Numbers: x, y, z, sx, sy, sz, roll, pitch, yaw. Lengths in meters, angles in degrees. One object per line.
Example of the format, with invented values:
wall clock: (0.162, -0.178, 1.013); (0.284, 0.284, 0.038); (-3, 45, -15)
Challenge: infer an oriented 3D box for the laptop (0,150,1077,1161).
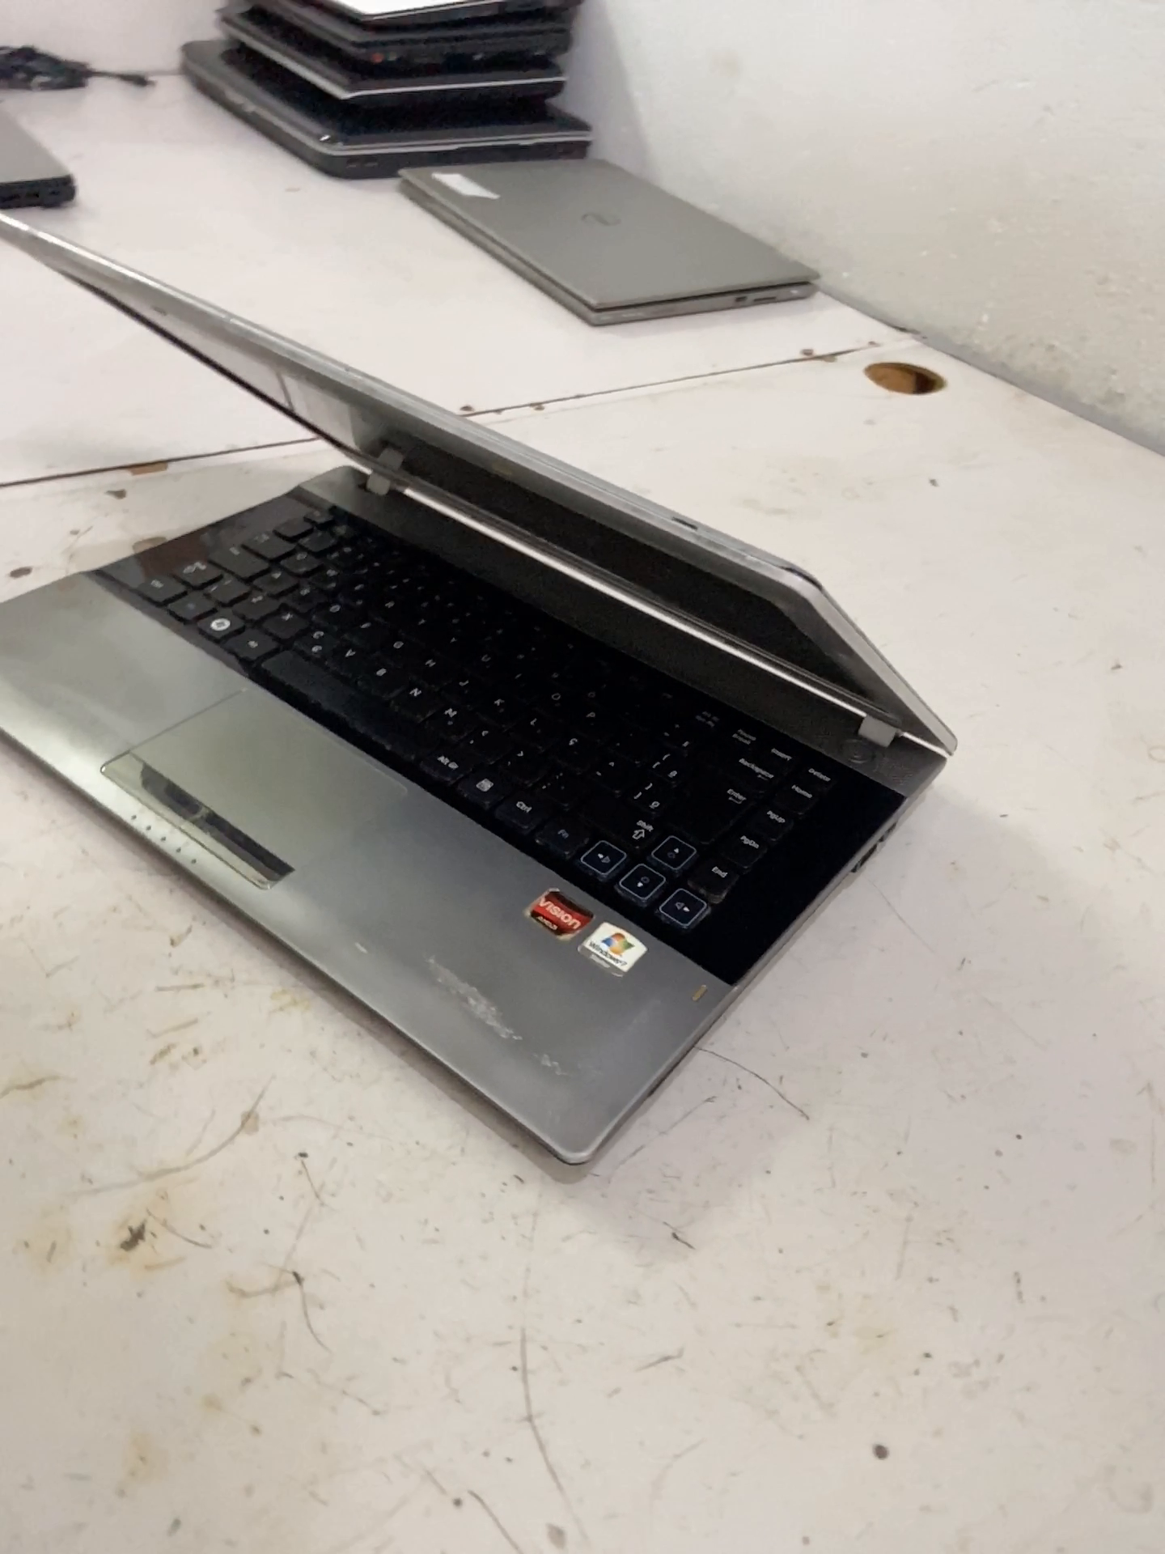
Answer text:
laptop: (-0.057, -0.085, 0.429); (0.345, 0.150, 0.234); (30, 46, 26)
